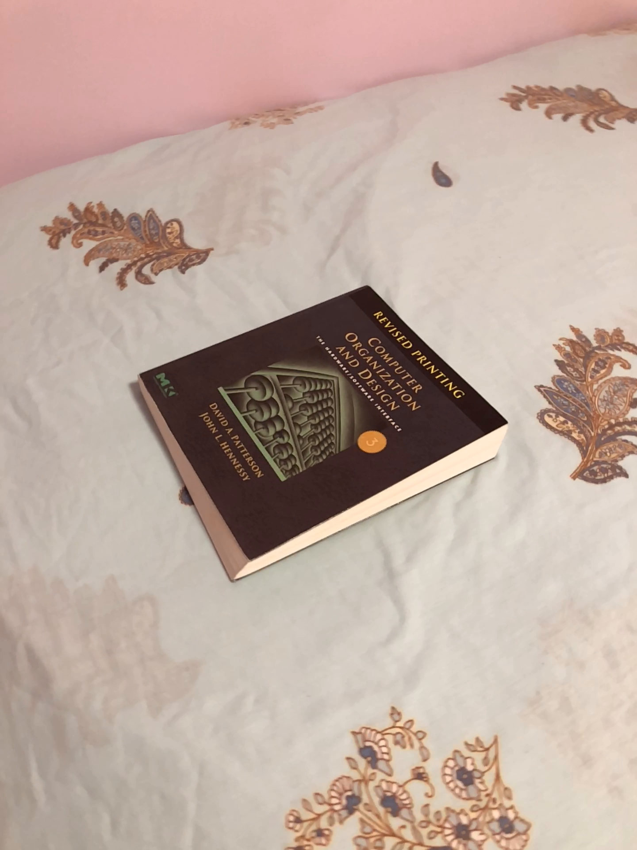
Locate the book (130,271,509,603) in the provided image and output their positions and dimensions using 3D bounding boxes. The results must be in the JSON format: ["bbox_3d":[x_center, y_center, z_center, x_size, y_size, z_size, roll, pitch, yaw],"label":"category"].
[{"bbox_3d":[-0.004,-0.005,0.576,0.226,0.073,0.202,-25,56,-19],"label":"book"}]
